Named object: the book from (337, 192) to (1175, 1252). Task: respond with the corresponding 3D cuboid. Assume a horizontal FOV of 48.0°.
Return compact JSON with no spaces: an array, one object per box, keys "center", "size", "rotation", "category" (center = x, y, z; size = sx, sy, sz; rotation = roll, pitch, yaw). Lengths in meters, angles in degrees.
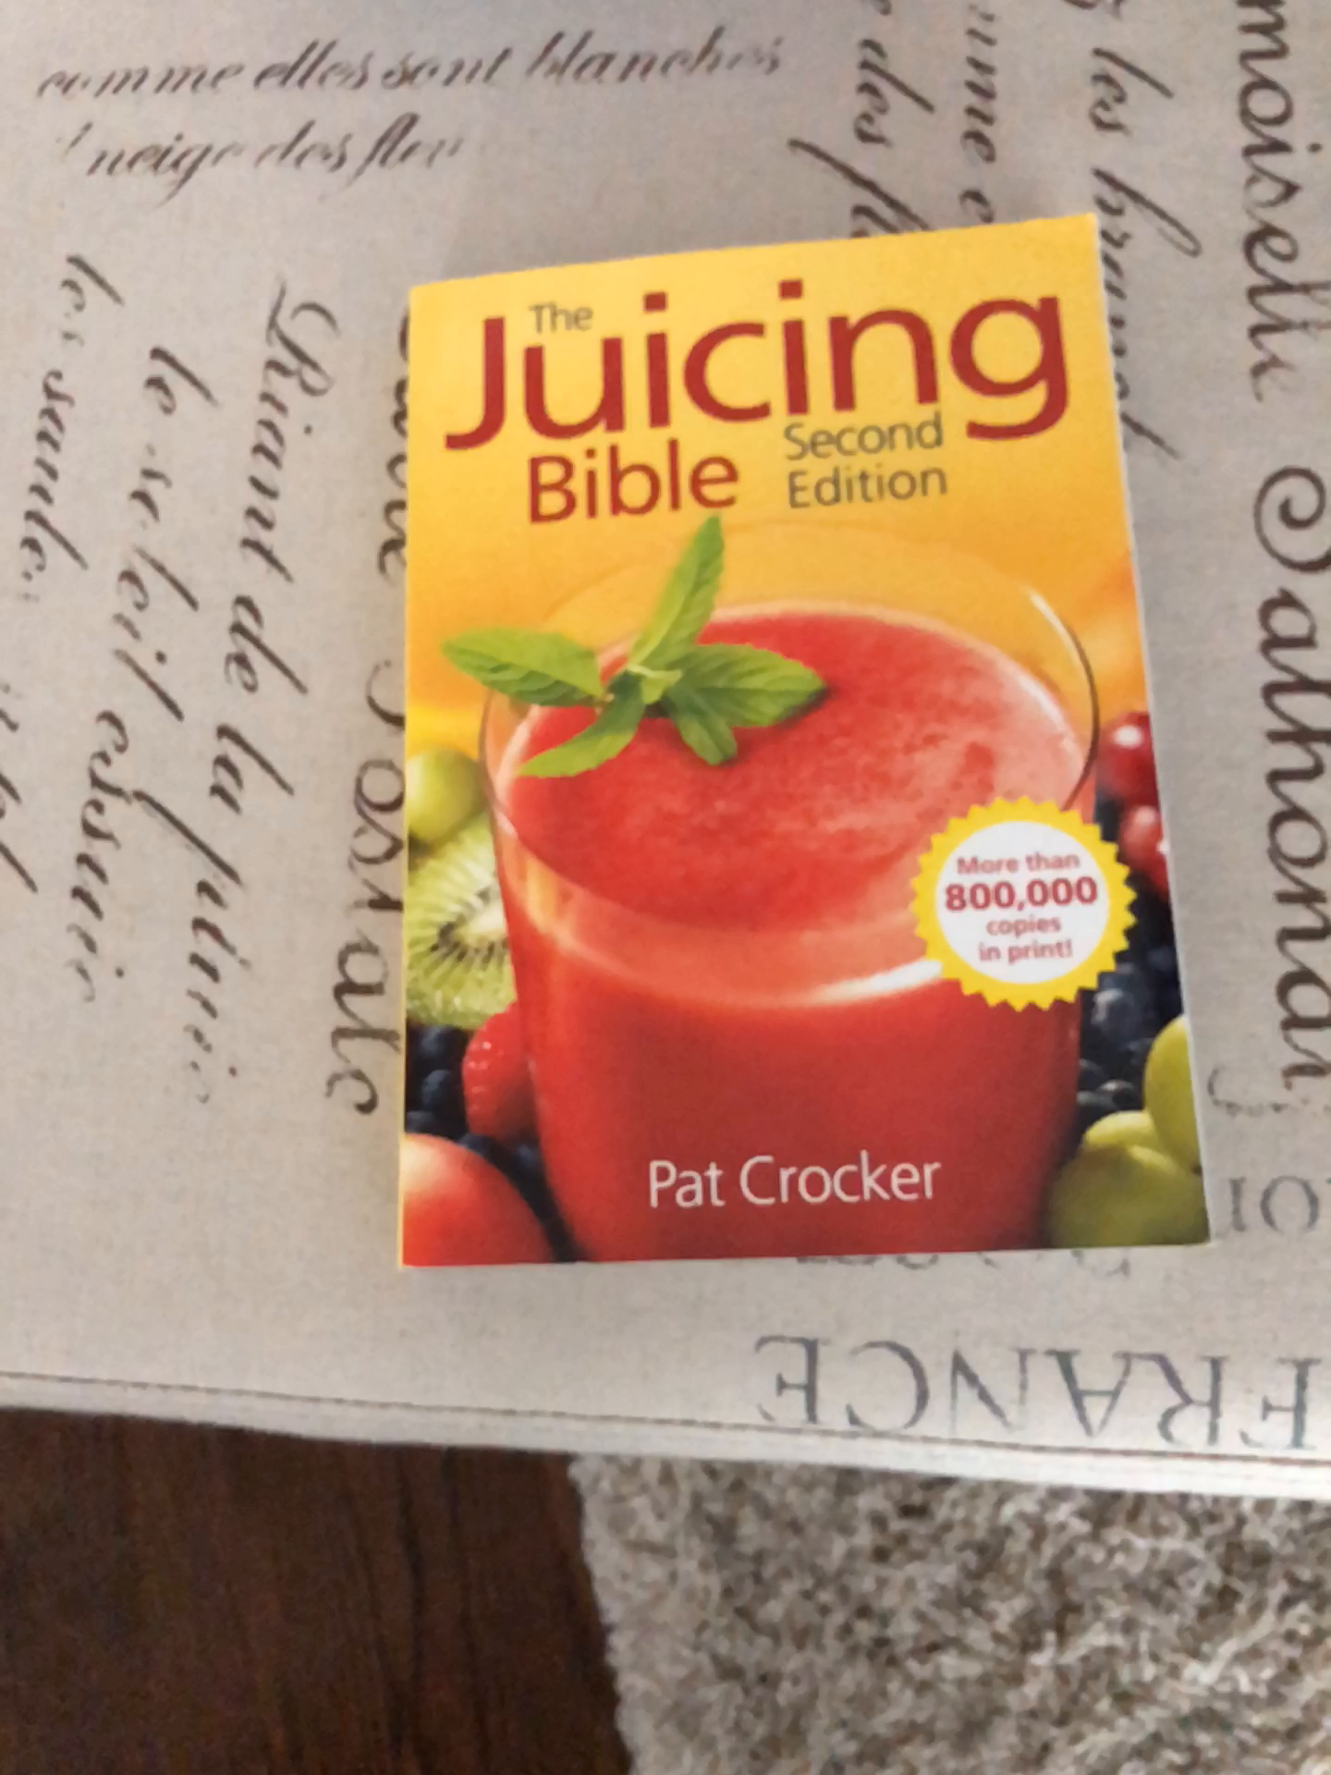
[{"center":[0.015,-0.042,0.365],"size":[0.180,0.030,0.250],"rotation":[-3,76,7],"category":"book"}]
